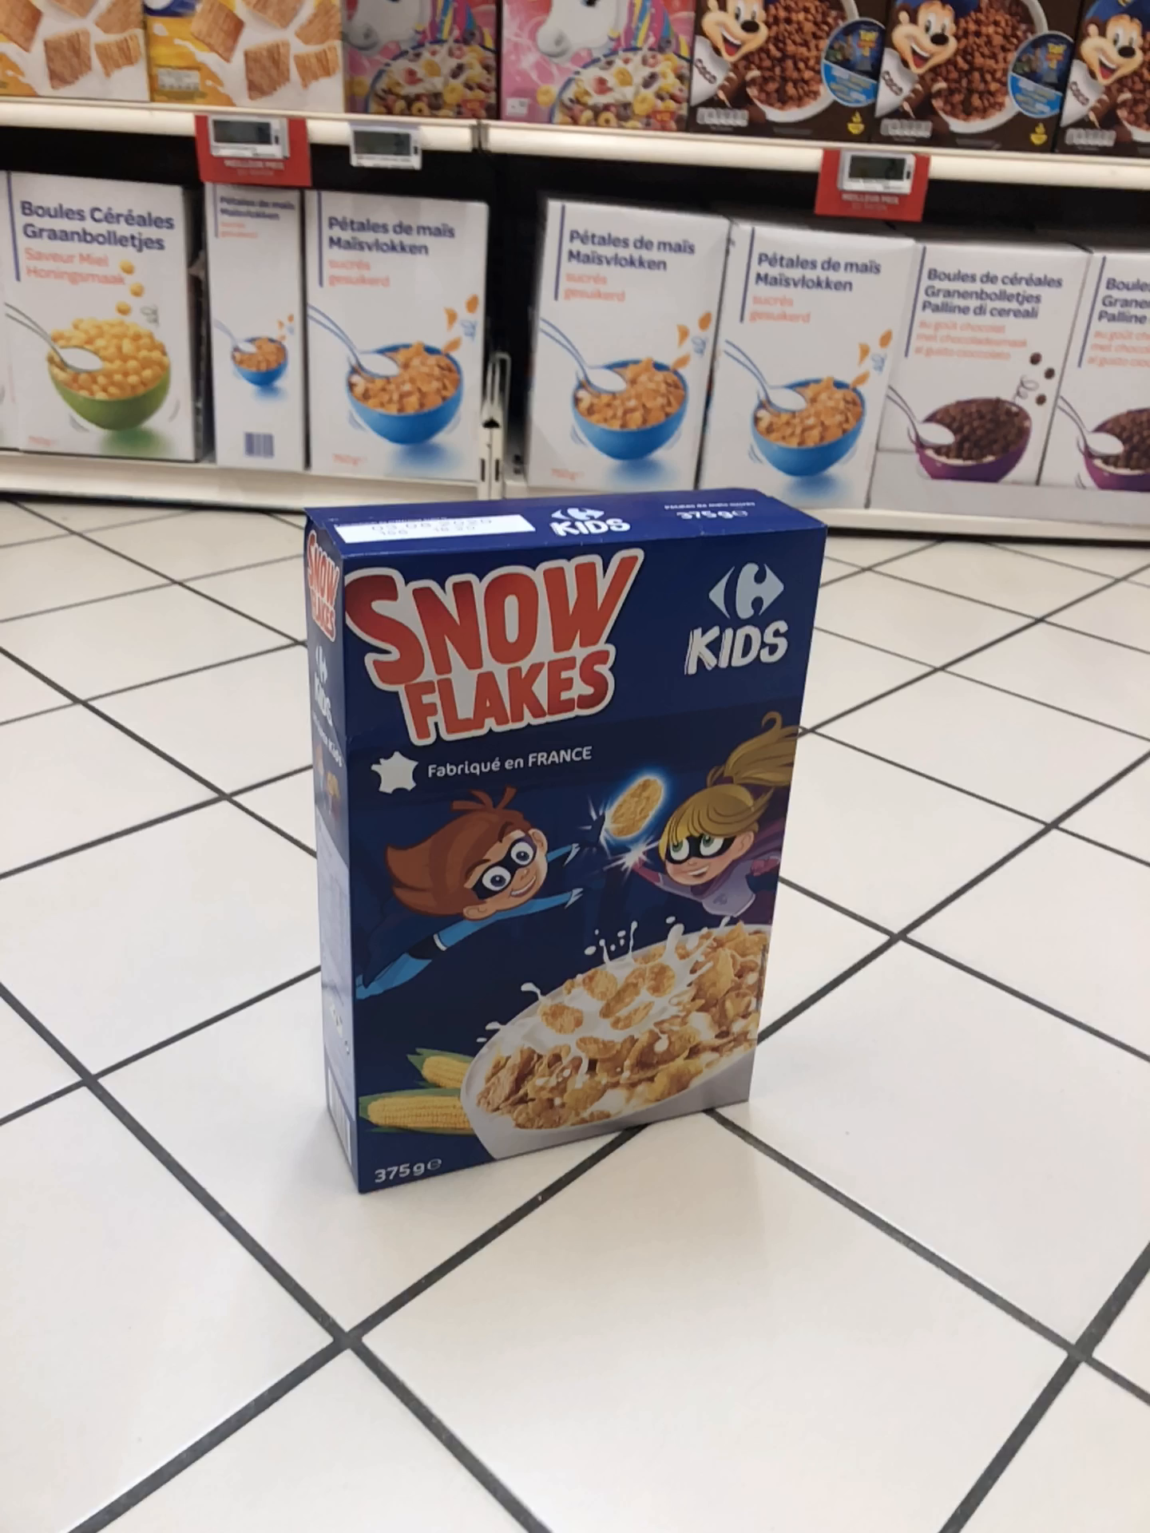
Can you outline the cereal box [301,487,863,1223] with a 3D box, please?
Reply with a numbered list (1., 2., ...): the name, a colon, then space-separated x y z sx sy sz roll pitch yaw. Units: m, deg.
1. cereal box: -0.004 0.037 0.547 0.201 0.288 0.080 -7 28 -20
